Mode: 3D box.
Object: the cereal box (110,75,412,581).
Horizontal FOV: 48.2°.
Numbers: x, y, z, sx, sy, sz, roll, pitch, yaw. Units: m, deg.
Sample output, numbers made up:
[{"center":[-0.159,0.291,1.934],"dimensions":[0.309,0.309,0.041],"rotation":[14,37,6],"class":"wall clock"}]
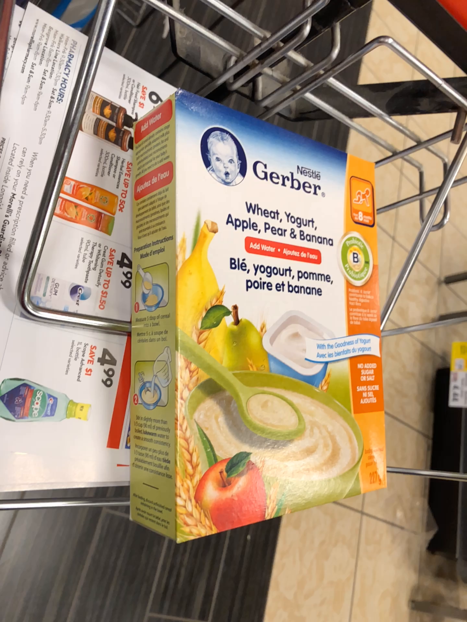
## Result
[{"center":[0.019,0.009,0.270],"dimensions":[0.151,0.050,0.200],"rotation":[6,79,-37],"class":"cereal box"}]
